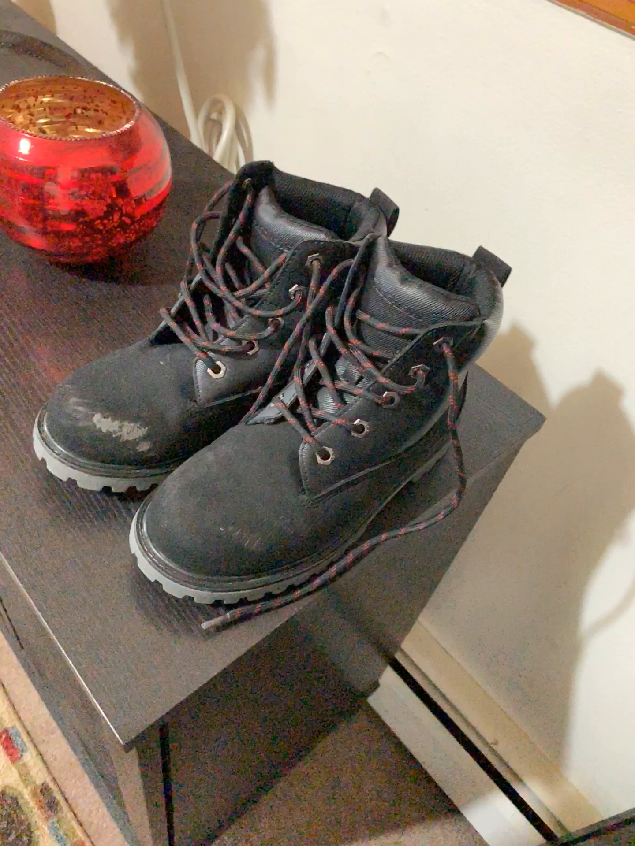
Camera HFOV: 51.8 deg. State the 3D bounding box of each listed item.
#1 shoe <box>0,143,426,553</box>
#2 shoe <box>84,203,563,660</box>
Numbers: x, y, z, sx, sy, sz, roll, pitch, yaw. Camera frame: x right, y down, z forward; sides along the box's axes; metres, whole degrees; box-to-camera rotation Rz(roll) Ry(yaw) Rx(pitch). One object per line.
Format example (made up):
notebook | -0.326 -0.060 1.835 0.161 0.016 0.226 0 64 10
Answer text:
shoe | -0.063 -0.054 0.404 0.221 0.159 0.100 -29 60 -33
shoe | 0.005 -0.005 0.376 0.231 0.159 0.100 -29 60 -33
